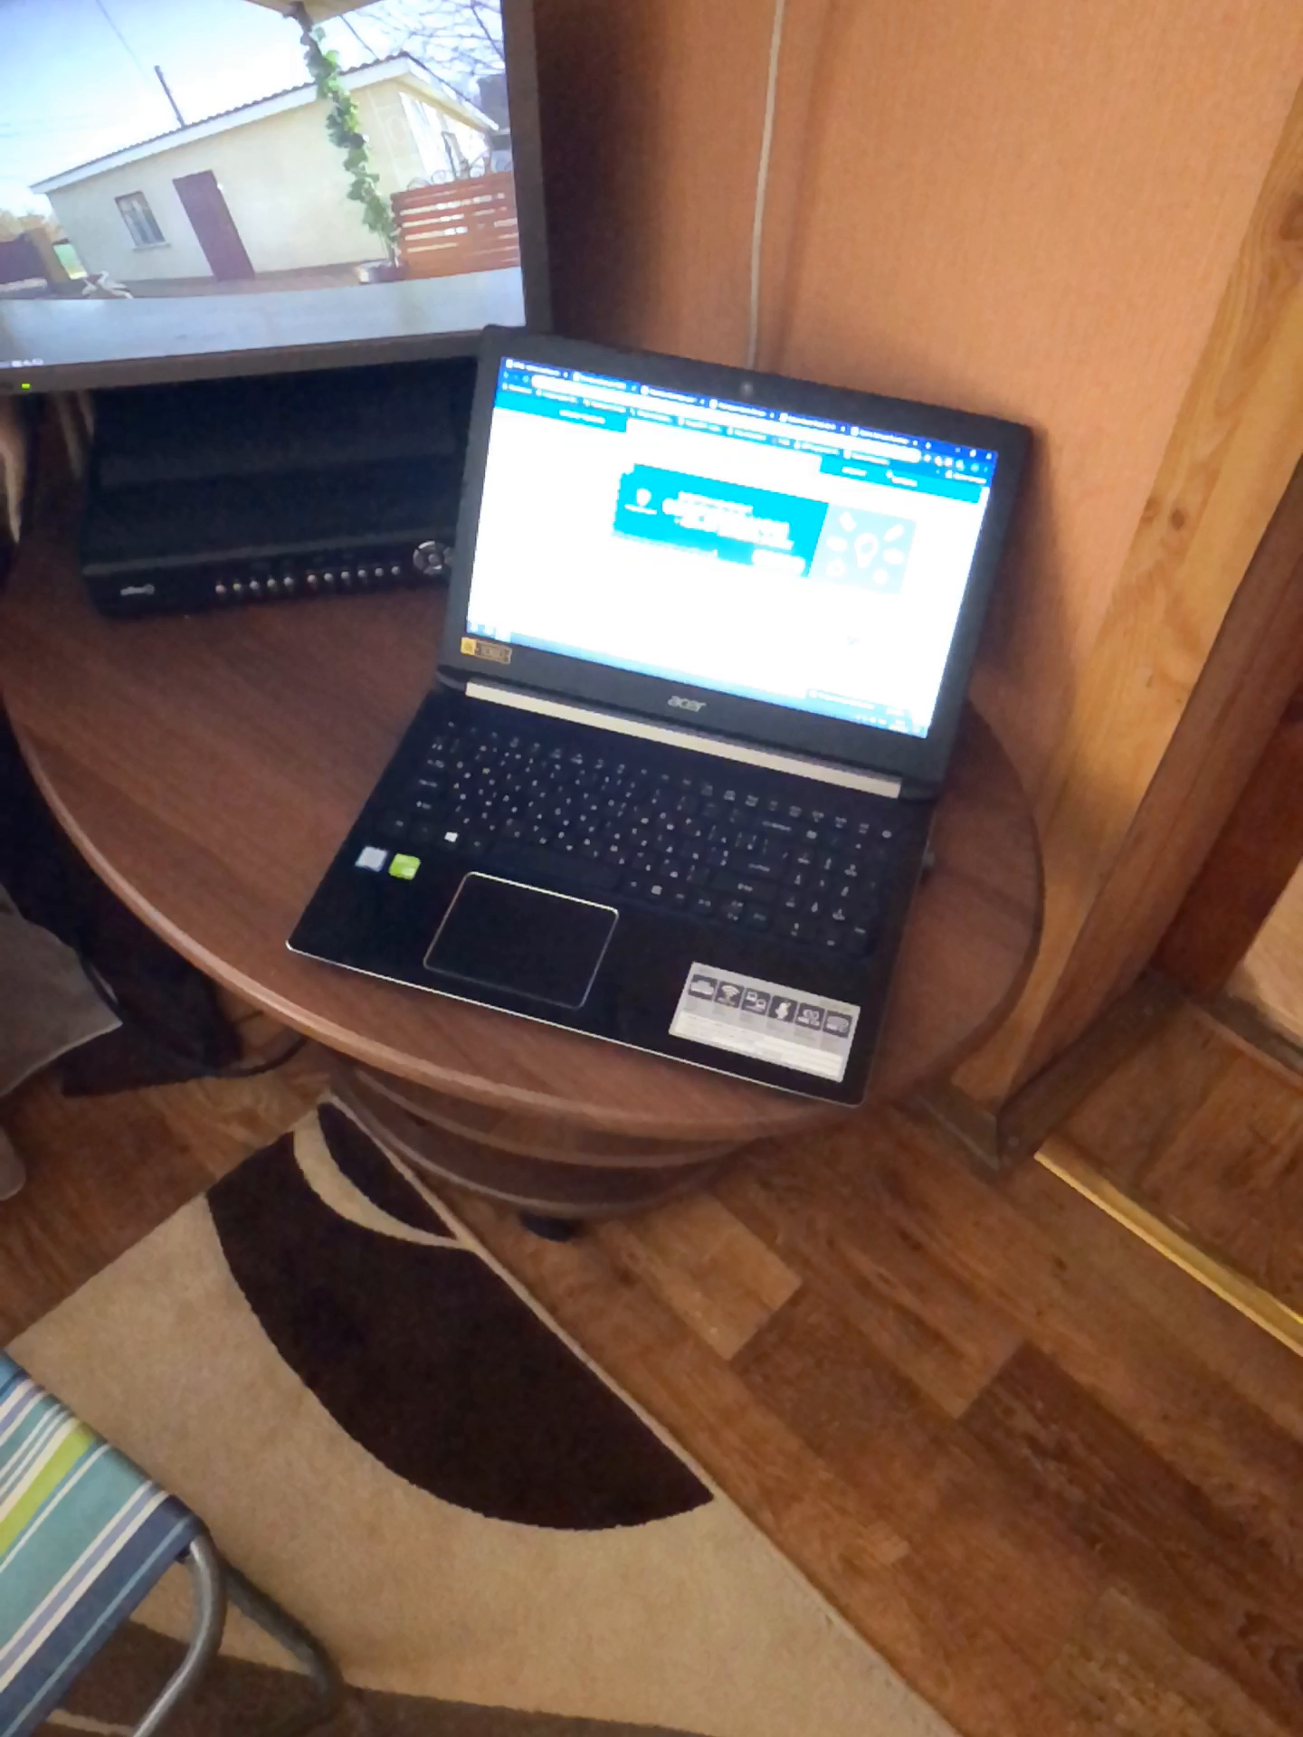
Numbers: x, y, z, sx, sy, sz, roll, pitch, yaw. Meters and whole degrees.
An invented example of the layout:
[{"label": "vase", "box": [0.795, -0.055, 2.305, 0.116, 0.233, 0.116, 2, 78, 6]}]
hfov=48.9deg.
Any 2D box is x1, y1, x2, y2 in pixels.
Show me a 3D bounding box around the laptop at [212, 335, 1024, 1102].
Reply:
[{"label": "laptop", "box": [0.004, -0.113, 0.911, 0.372, 0.186, 0.392, 14, 54, 9]}]
